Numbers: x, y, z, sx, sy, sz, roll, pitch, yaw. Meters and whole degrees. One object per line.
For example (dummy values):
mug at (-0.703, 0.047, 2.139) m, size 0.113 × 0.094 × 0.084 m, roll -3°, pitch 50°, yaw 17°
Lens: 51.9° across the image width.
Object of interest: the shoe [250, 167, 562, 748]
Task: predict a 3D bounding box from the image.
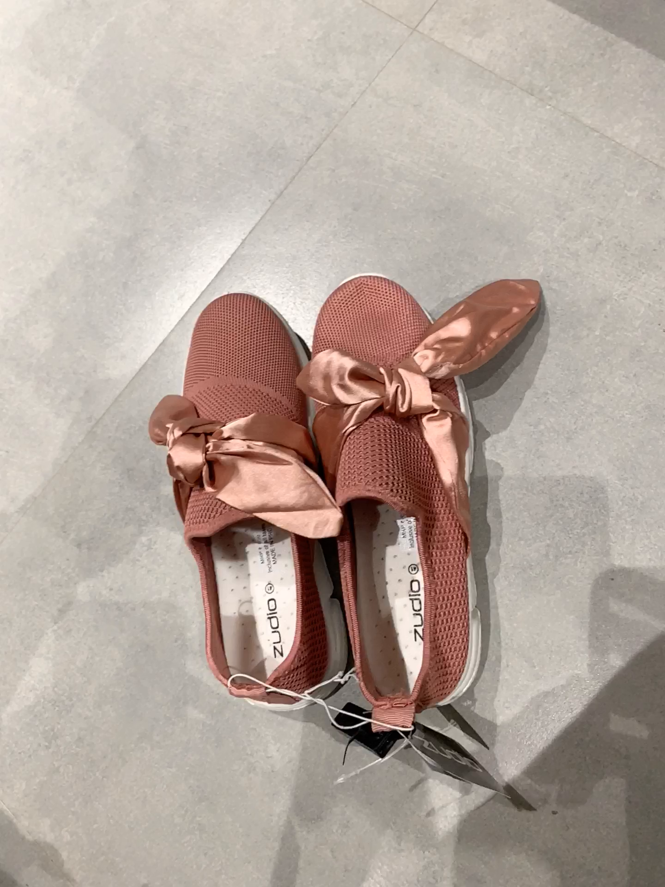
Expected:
shoe at (0.038, 0.008, 0.380) m, size 0.110 × 0.100 × 0.270 m, roll -10°, pitch 79°, yaw 11°

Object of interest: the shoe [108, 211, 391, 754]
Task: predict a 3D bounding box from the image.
shoe at (-0.047, 0.022, 0.405) m, size 0.110 × 0.100 × 0.270 m, roll -10°, pitch 79°, yaw 11°
